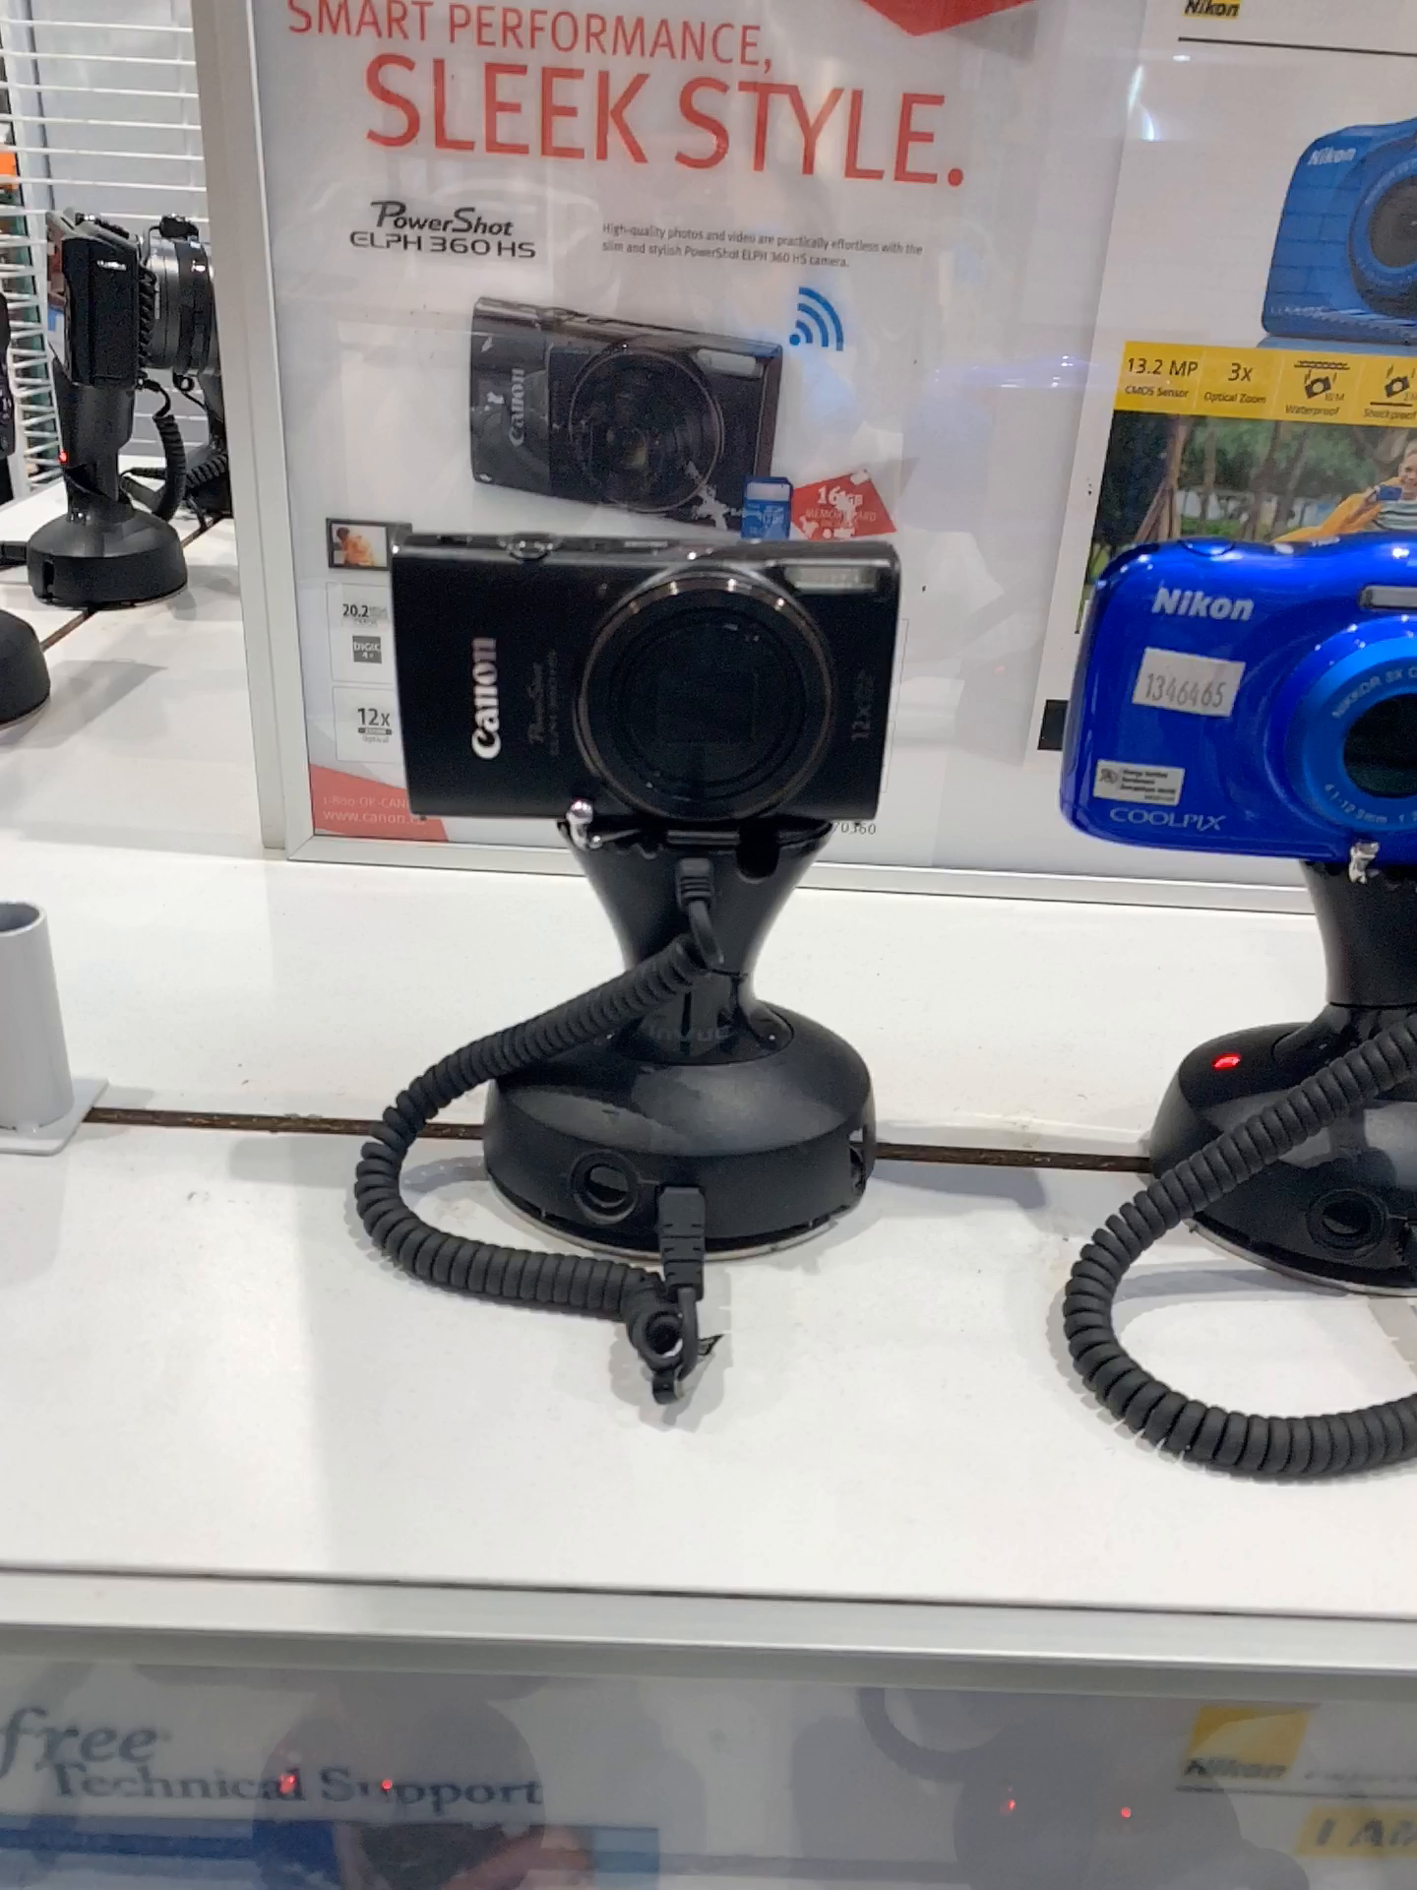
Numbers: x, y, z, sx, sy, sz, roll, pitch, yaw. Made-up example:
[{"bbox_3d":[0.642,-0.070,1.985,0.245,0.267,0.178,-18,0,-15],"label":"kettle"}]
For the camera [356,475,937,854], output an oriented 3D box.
[{"bbox_3d":[-0.013,-0.054,0.281,0.100,0.059,0.040,1,27,-6],"label":"camera"}]
